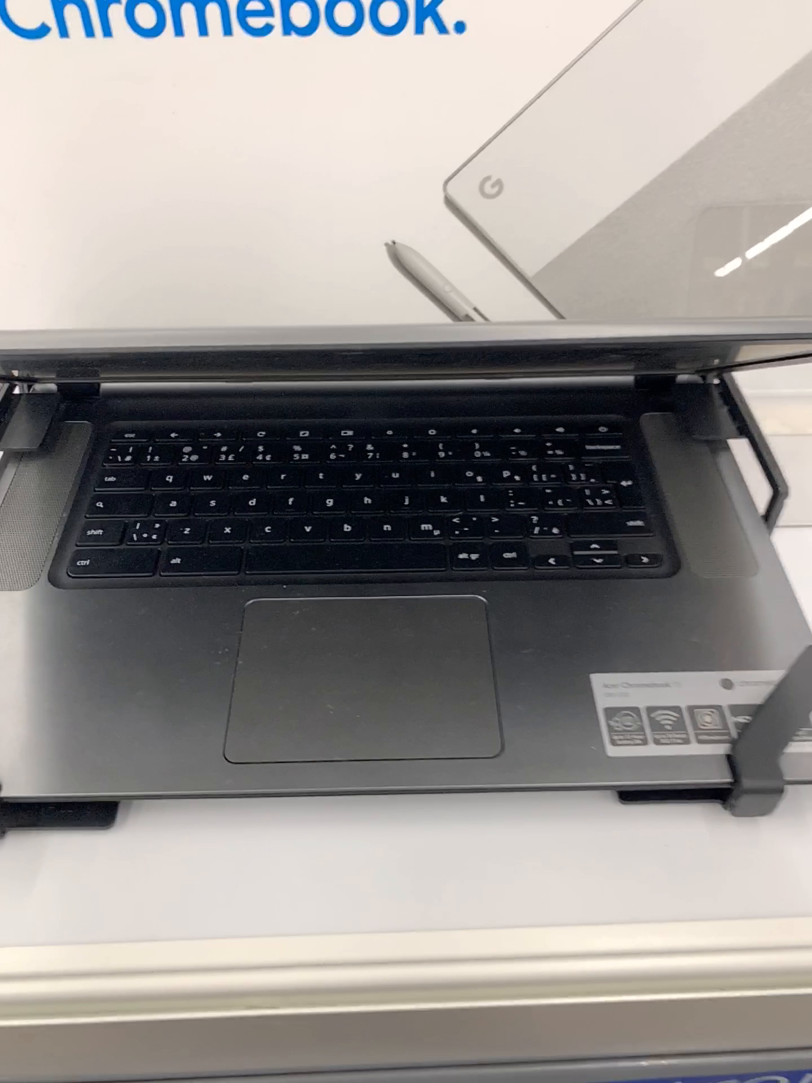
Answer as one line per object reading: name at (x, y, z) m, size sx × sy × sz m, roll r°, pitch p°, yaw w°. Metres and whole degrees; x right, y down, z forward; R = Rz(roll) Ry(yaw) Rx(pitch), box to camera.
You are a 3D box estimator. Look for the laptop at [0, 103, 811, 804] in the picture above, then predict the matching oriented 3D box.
laptop at (-0.014, -0.039, 0.267) m, size 0.303 × 0.119 × 0.198 m, roll -1°, pitch 46°, yaw 0°
